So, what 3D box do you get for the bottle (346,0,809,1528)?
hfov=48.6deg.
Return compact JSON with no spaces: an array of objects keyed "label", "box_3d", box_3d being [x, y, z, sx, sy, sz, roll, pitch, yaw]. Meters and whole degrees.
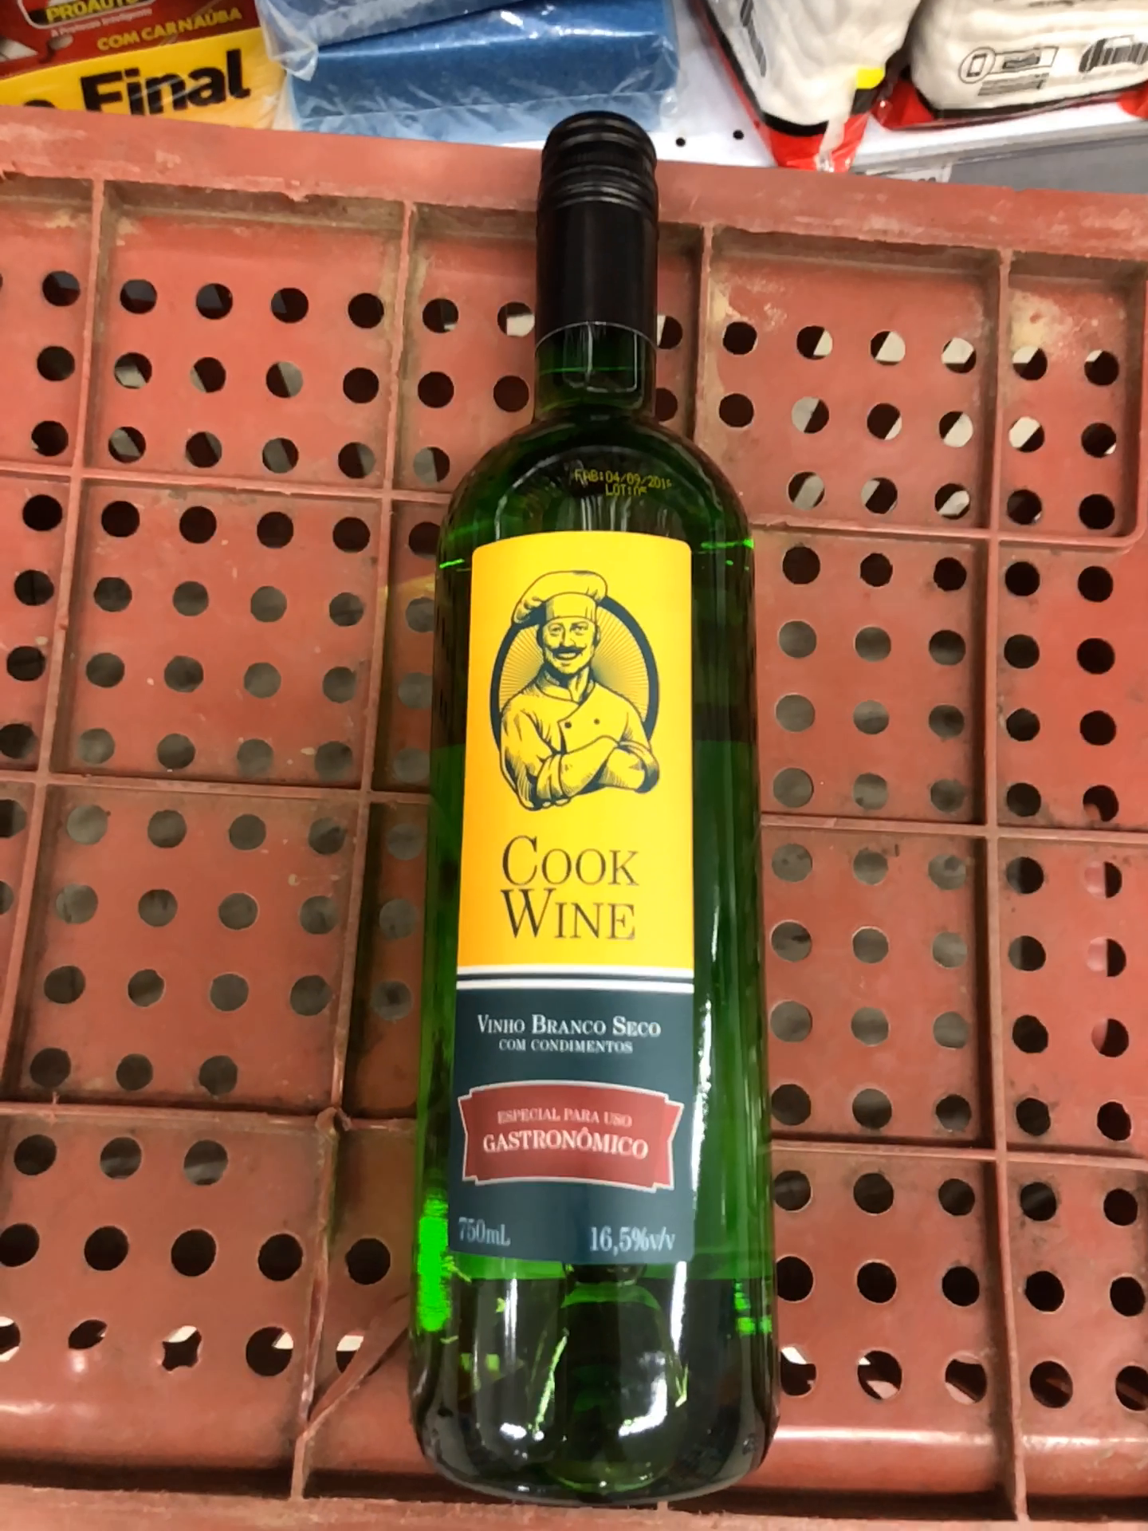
[{"label":"bottle","box_3d":[0.006,-0.023,0.279,0.080,0.060,0.320,-1,79,8]}]
